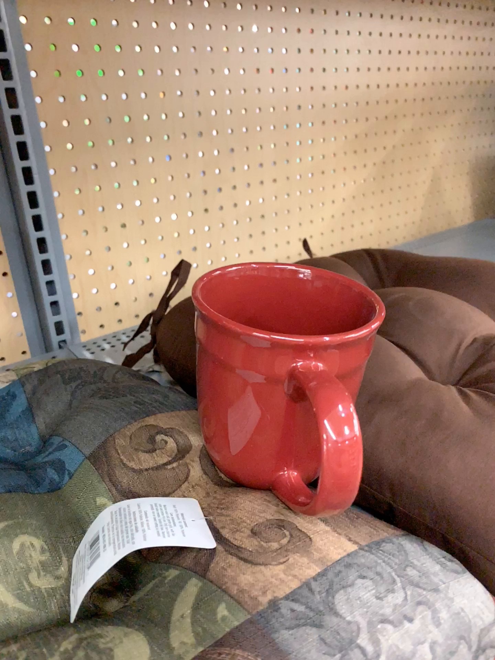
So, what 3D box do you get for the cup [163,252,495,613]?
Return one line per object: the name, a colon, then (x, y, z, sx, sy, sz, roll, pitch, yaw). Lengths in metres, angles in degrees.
cup: (0.017, 0.030, 0.248, 0.100, 0.090, 0.151, -1, 27, -14)
